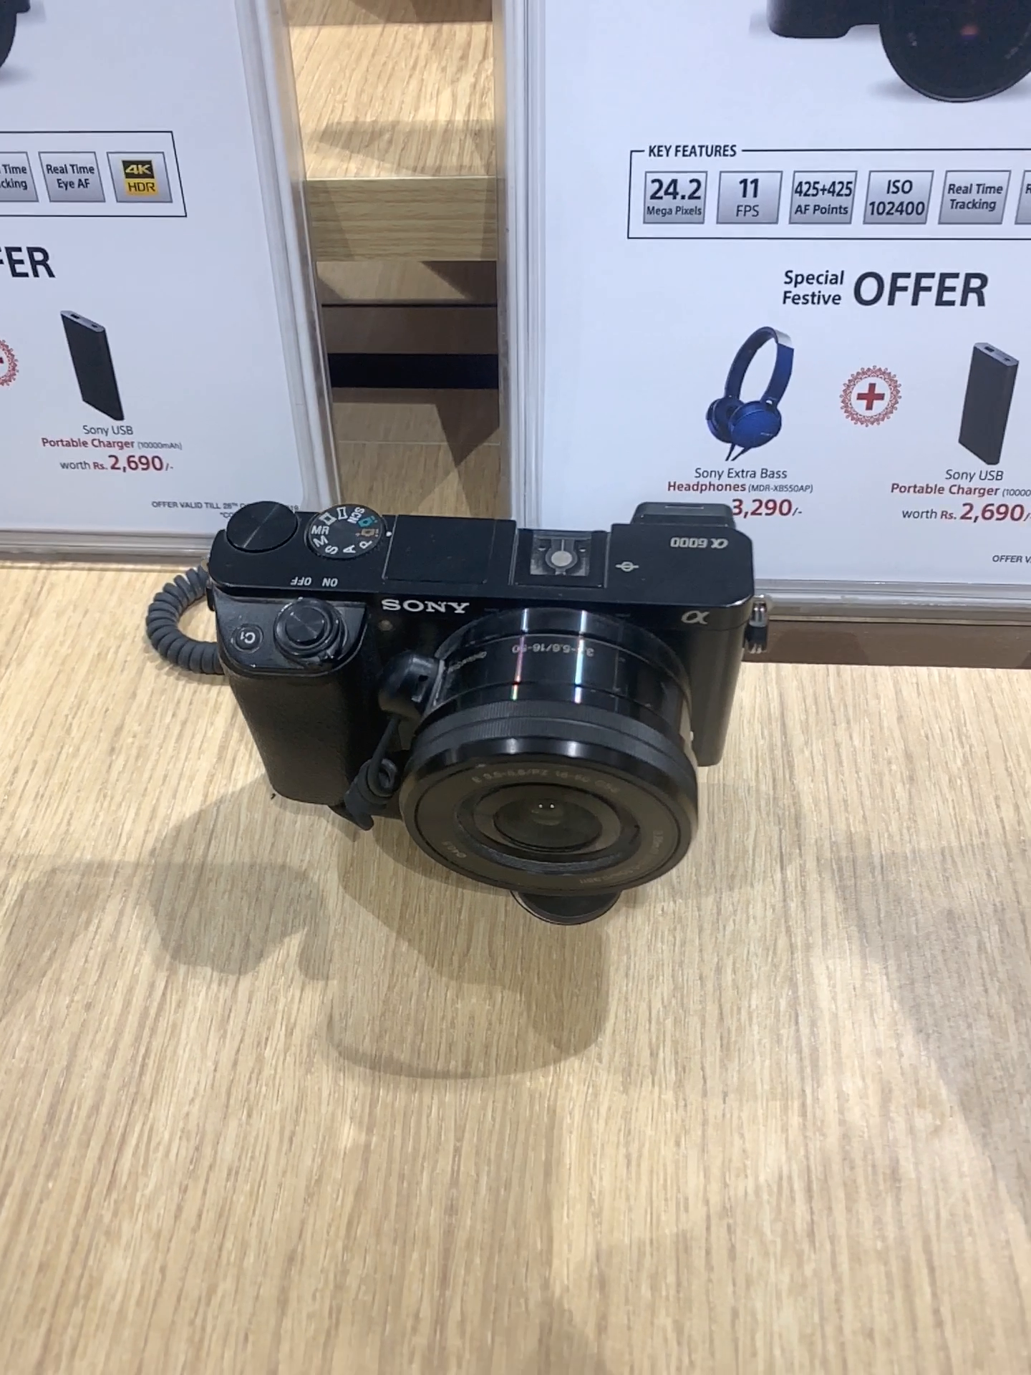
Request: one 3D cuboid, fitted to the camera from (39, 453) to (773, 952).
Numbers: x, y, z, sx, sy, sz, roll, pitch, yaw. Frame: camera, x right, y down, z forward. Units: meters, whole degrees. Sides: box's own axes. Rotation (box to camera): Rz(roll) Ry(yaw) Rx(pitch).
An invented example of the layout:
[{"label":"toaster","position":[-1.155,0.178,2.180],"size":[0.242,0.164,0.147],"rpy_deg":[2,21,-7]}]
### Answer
[{"label":"camera","position":[-0.015,0.003,0.221],"size":[0.120,0.070,0.070],"rpy_deg":[3,51,5]}]
